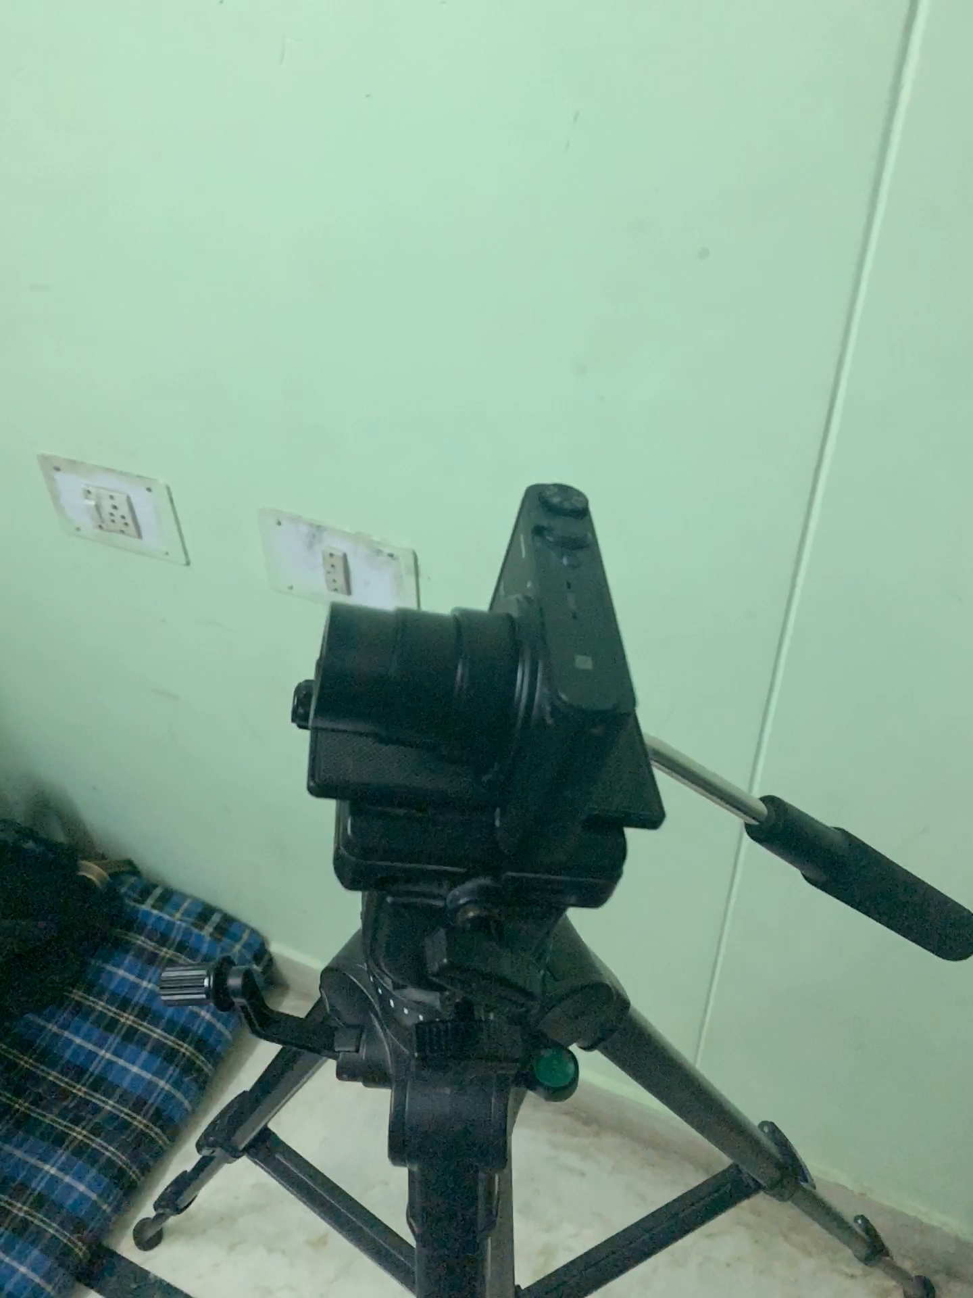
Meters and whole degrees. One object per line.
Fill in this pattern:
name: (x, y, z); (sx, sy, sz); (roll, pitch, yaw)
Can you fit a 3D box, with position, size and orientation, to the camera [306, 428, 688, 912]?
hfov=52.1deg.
camera: (-0.004, 0.002, 0.252); (0.067, 0.060, 0.103); (10, 38, -14)
